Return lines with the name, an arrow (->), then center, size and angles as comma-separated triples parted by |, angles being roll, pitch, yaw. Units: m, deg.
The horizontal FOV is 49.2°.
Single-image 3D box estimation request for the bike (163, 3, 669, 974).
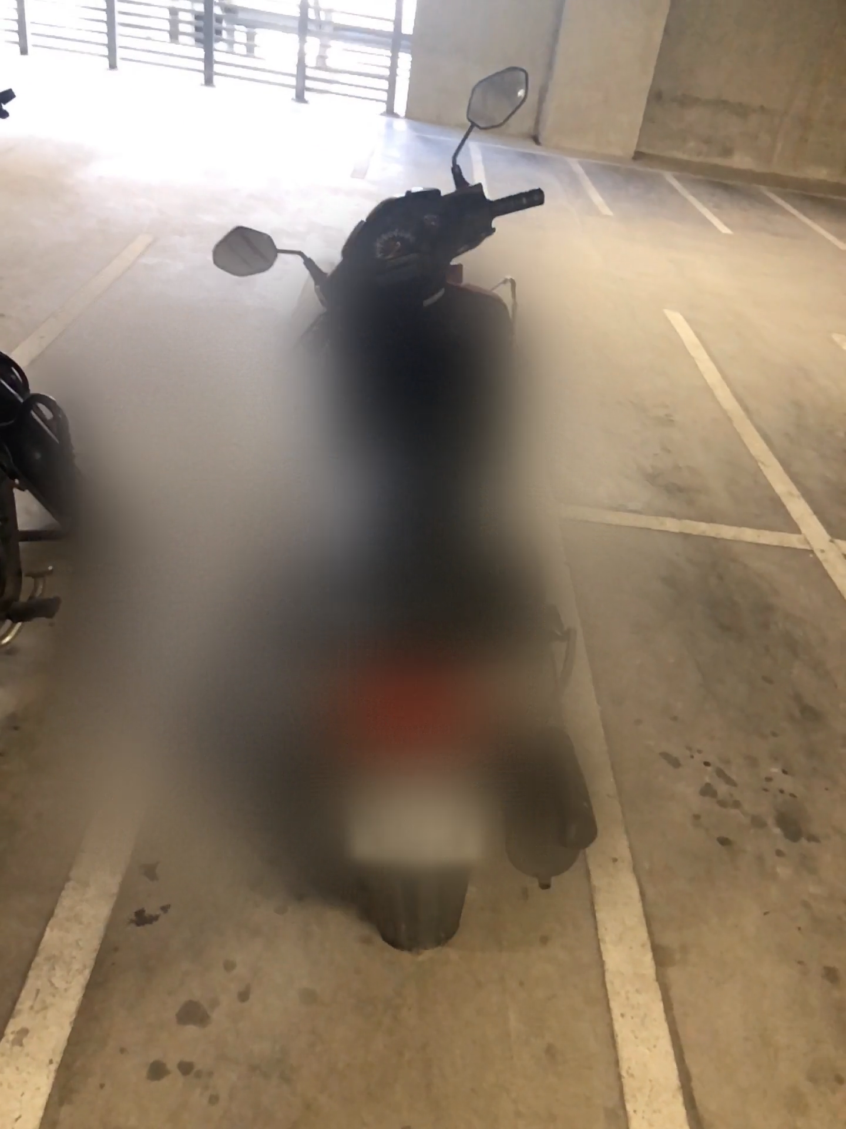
bike -> -0.112, -0.386, 2.127 | 0.582, 1.187, 1.962 | 5, 37, -7
